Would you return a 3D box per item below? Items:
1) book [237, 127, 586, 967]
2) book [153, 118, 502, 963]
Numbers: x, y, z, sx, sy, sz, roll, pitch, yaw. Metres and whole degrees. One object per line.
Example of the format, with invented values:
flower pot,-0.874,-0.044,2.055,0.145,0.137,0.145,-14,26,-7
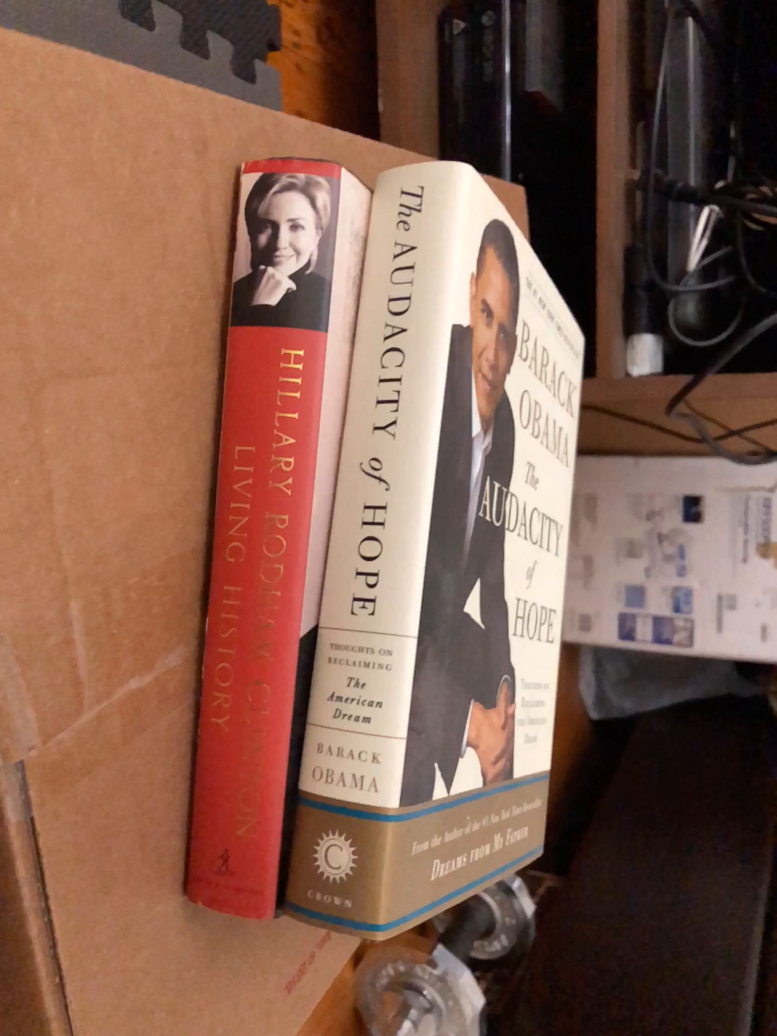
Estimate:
book,0.028,0.016,0.347,0.191,0.040,0.250,24,71,-62
book,-0.009,0.009,0.340,0.171,0.040,0.250,10,83,-64
